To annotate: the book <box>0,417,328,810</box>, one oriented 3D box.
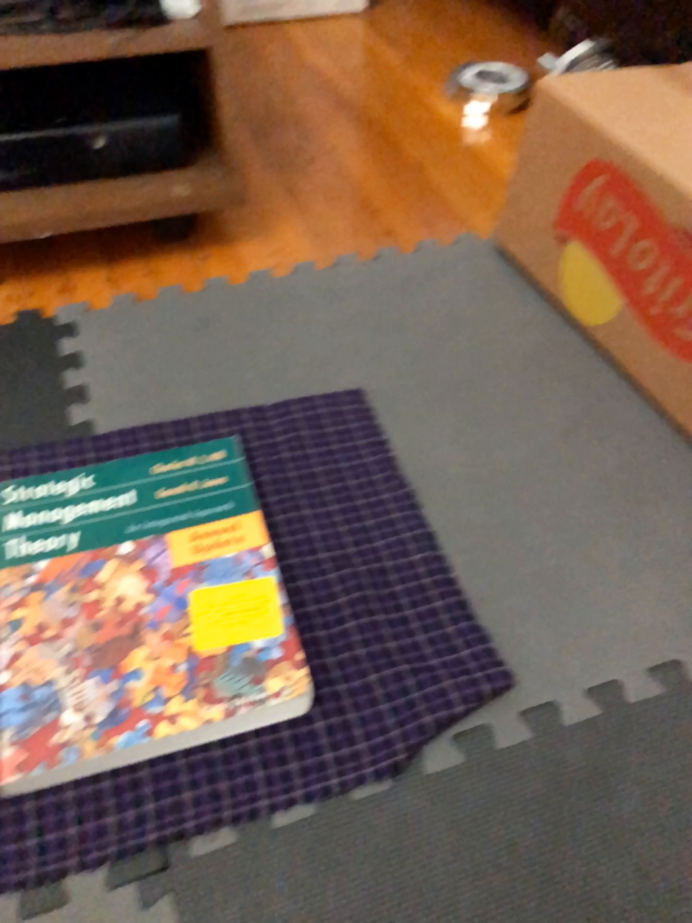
[{"bbox_3d":[-0.163,0.098,0.613,0.230,0.040,0.281,-12,51,-12],"label":"book"}]
